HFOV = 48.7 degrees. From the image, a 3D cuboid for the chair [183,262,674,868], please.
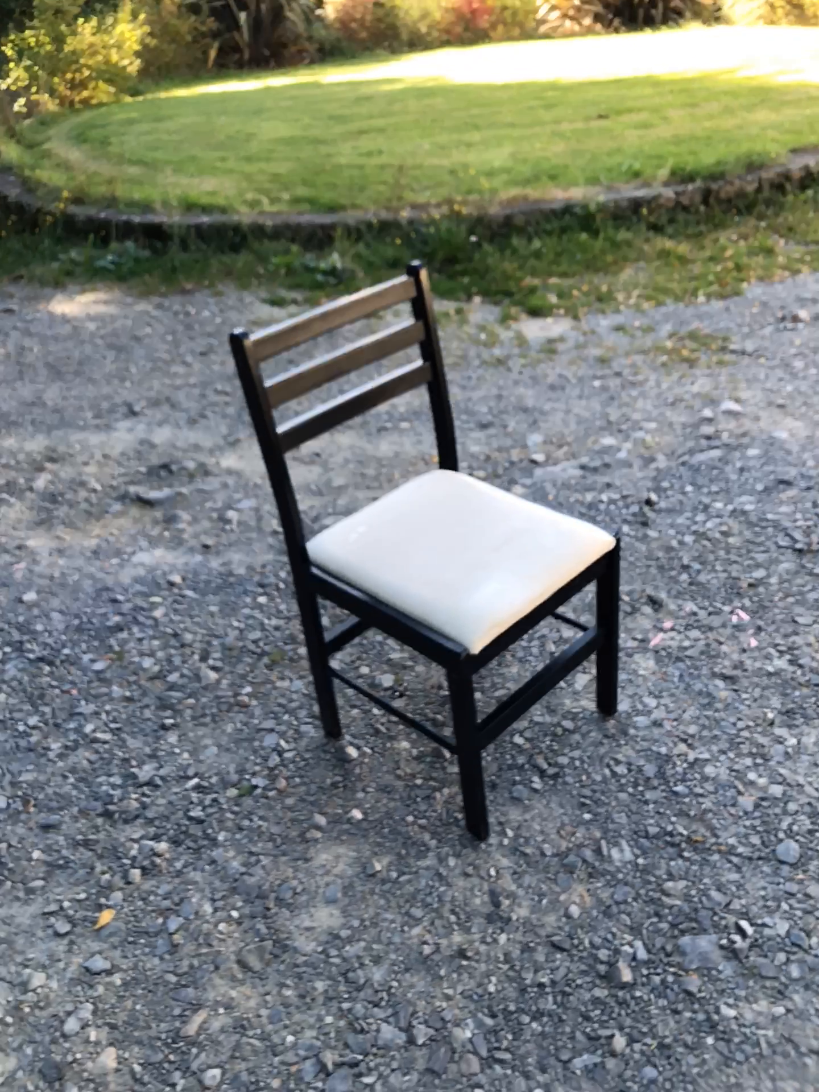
[{"bbox_3d":[0.054,-0.007,1.591,0.530,0.776,0.543,23,41,36],"label":"chair"}]
